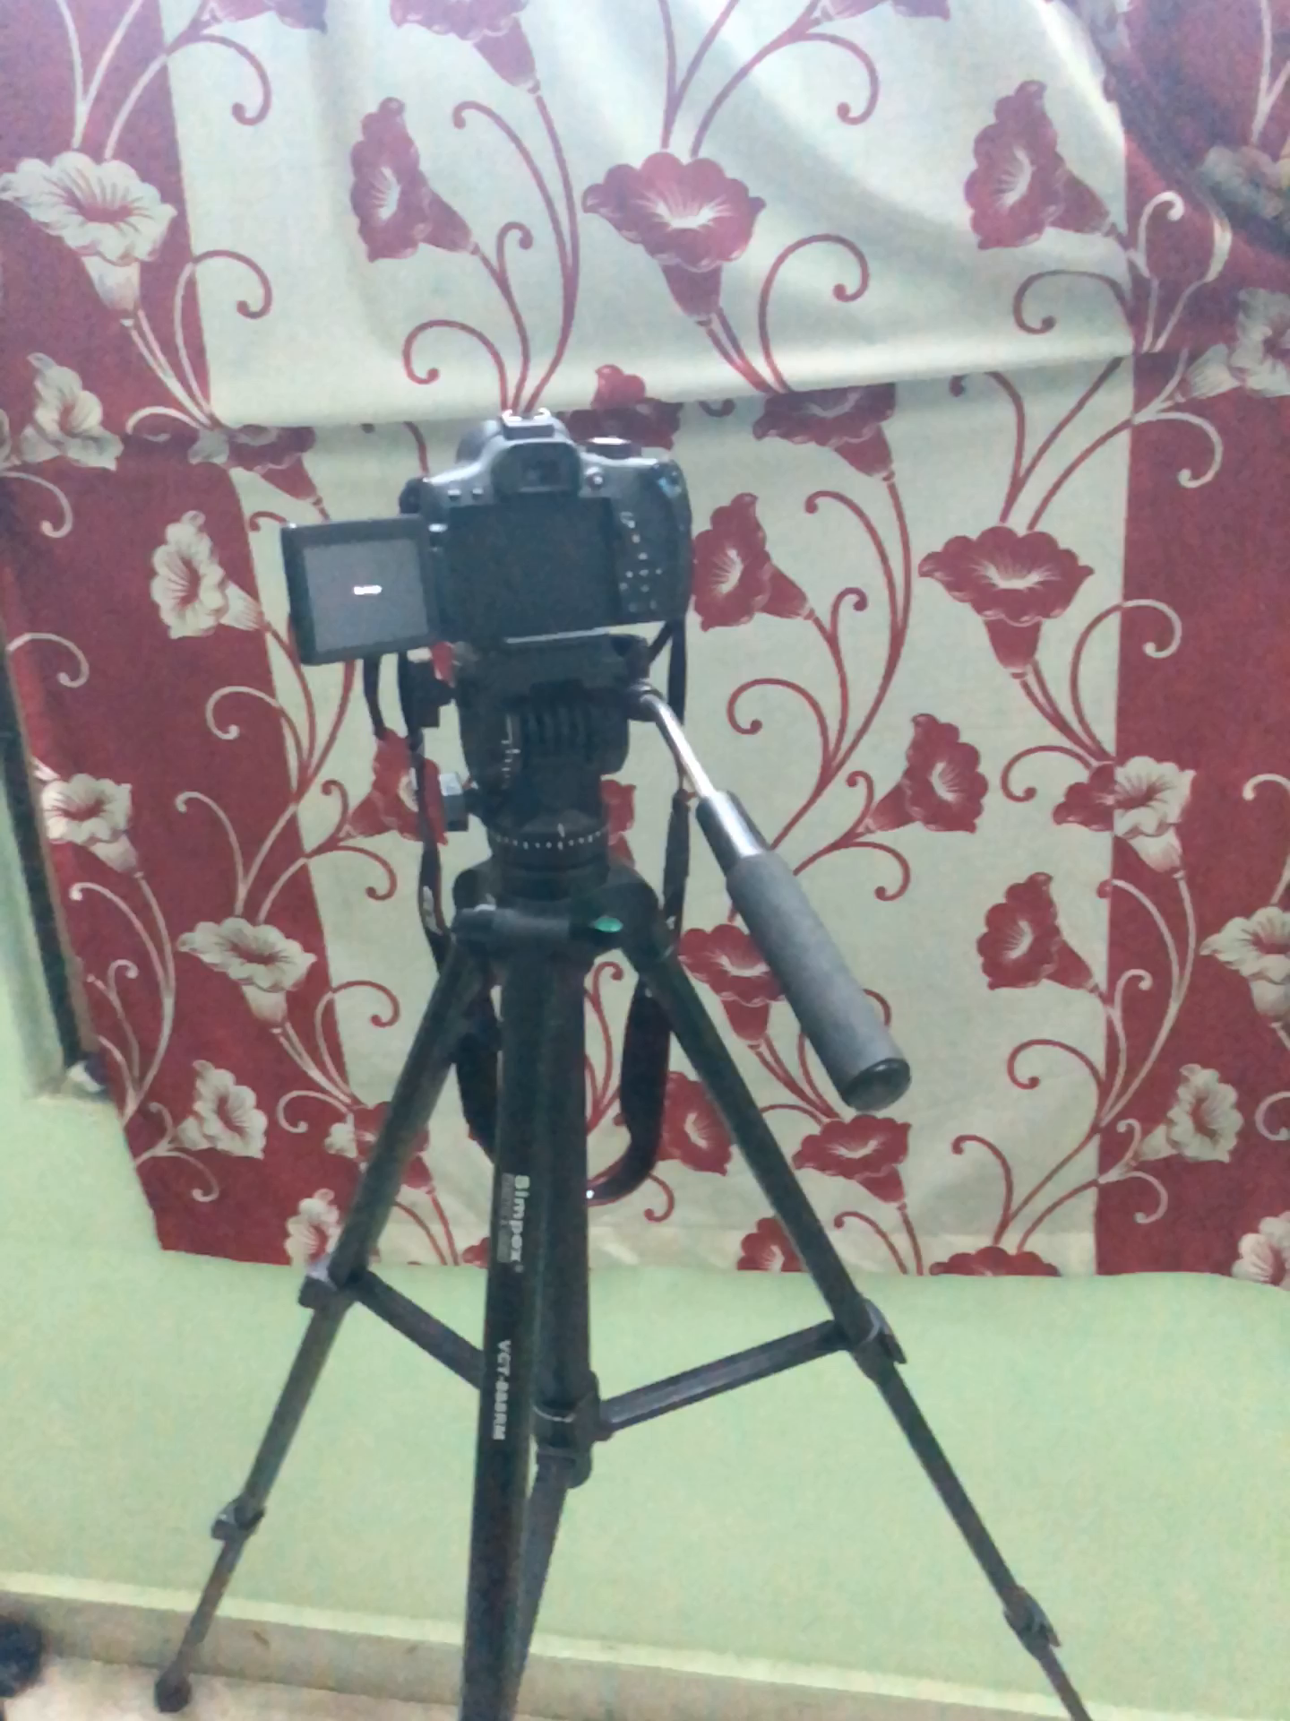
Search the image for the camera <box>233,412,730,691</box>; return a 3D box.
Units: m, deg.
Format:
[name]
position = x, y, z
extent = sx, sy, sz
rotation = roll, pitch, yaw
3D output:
[camera]
position = -0.080, -0.152, 0.664
extent = 0.200, 0.087, 0.141
rotation = -8, 26, -17
